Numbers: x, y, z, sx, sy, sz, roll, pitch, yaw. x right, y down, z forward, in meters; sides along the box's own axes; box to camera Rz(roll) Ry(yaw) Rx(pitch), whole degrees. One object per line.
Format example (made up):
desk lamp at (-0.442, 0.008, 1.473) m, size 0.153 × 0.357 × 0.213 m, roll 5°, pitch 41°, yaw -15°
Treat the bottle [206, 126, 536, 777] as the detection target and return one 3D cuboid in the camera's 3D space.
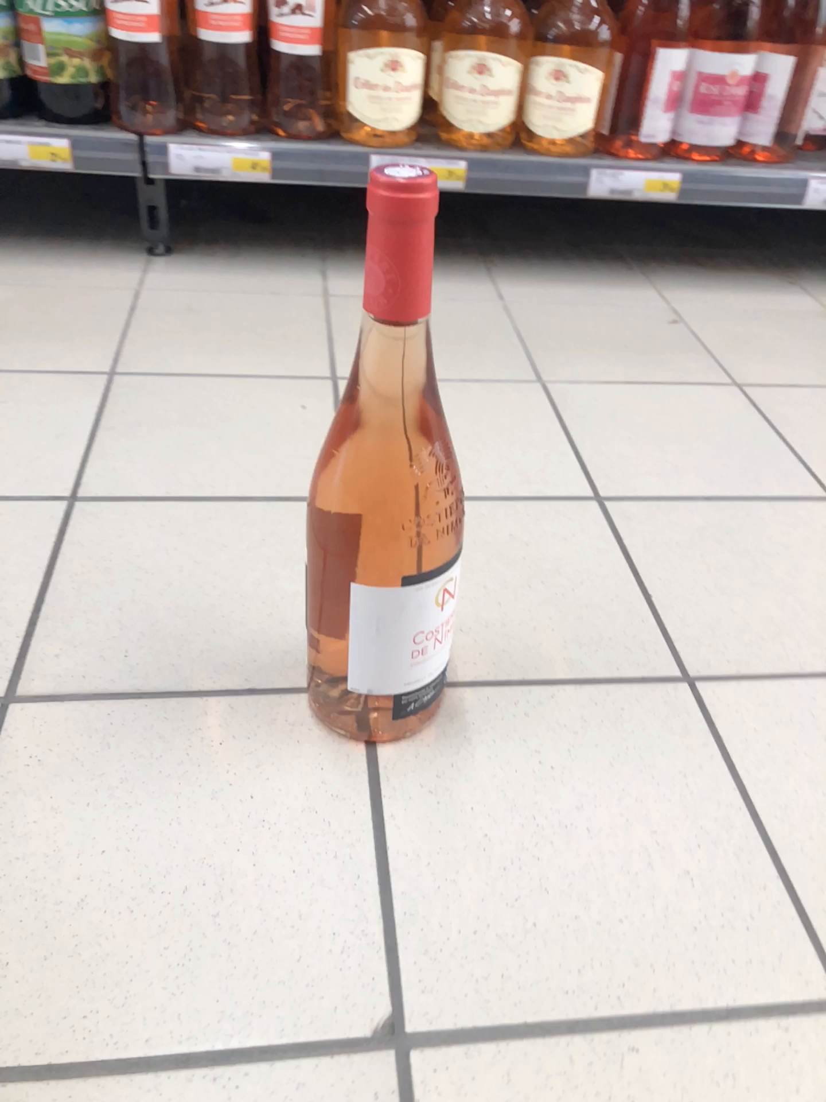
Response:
bottle at (-0.025, -0.036, 0.429) m, size 0.090 × 0.278 × 0.091 m, roll 4°, pitch 36°, yaw -3°
